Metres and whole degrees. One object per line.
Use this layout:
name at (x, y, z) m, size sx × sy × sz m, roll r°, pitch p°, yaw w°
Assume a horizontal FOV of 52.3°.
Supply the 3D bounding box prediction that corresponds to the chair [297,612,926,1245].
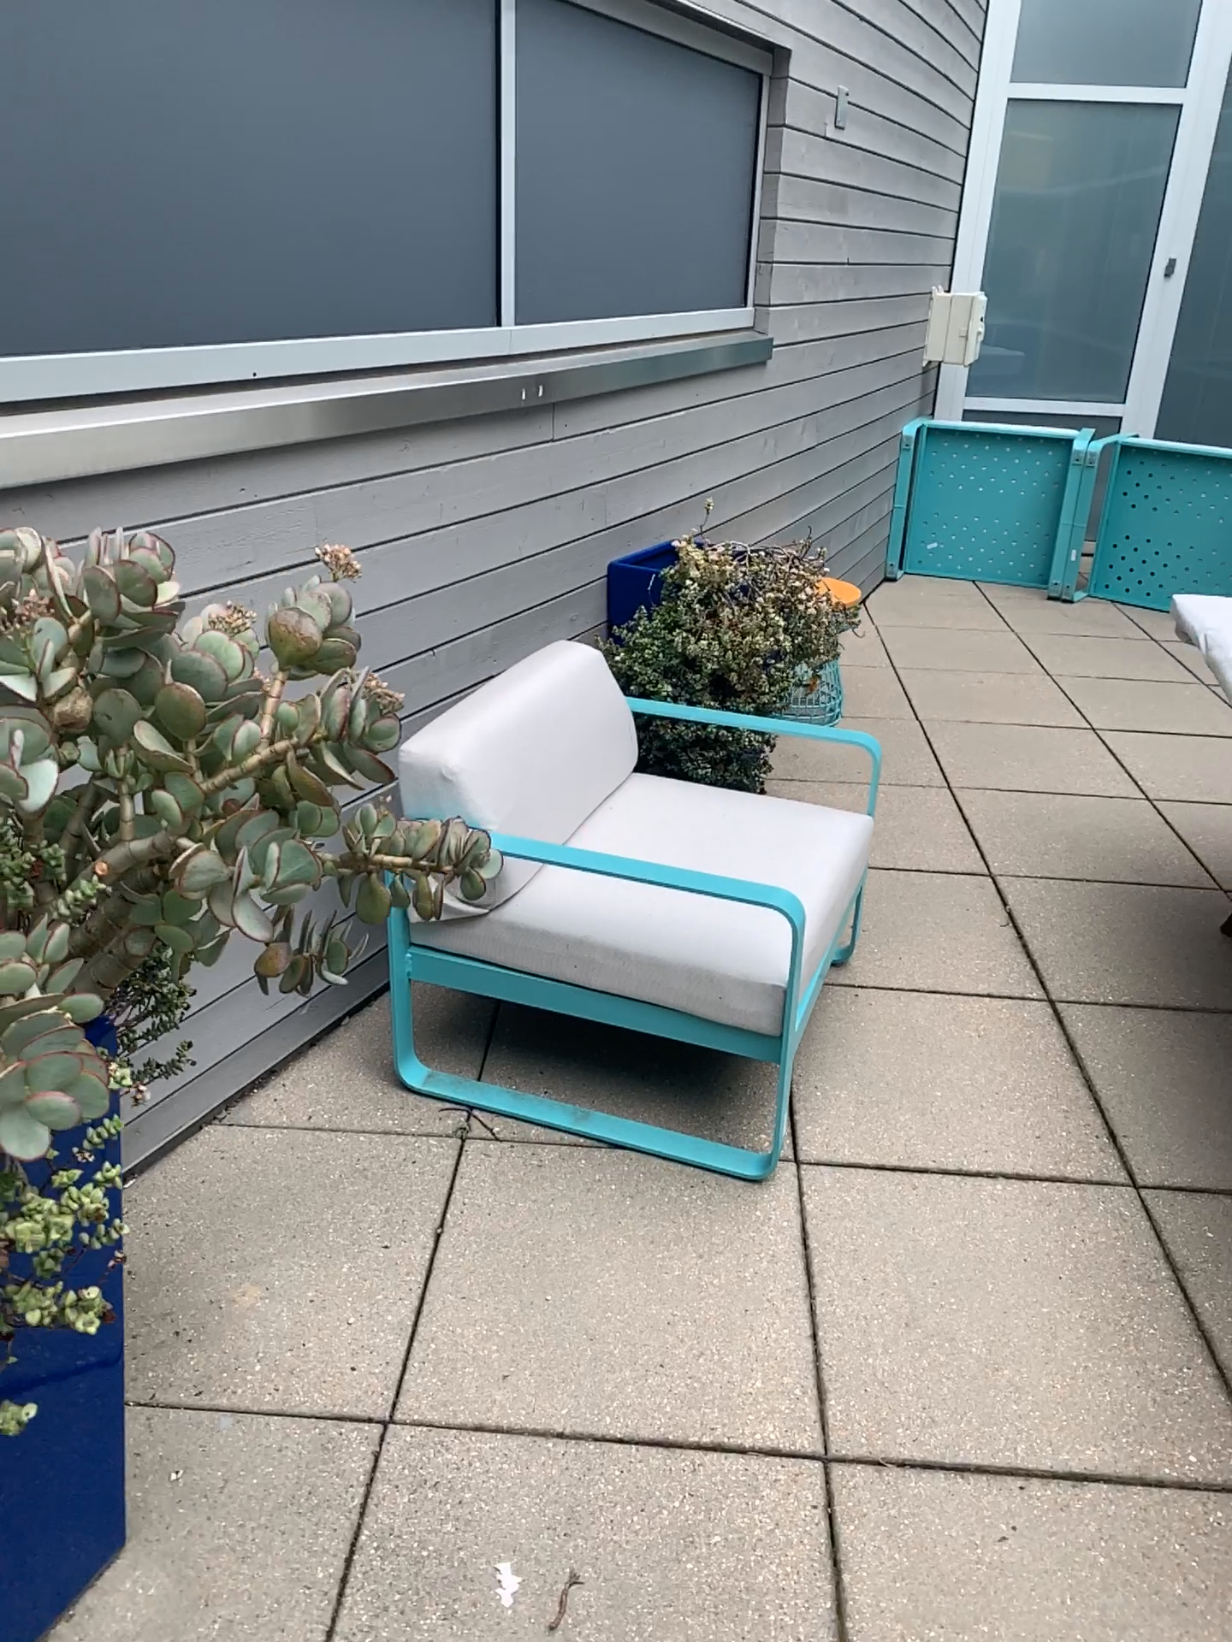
chair at (0.047, 0.113, 2.515) m, size 0.901 × 0.736 × 0.974 m, roll 11°, pitch 25°, yaw 18°
